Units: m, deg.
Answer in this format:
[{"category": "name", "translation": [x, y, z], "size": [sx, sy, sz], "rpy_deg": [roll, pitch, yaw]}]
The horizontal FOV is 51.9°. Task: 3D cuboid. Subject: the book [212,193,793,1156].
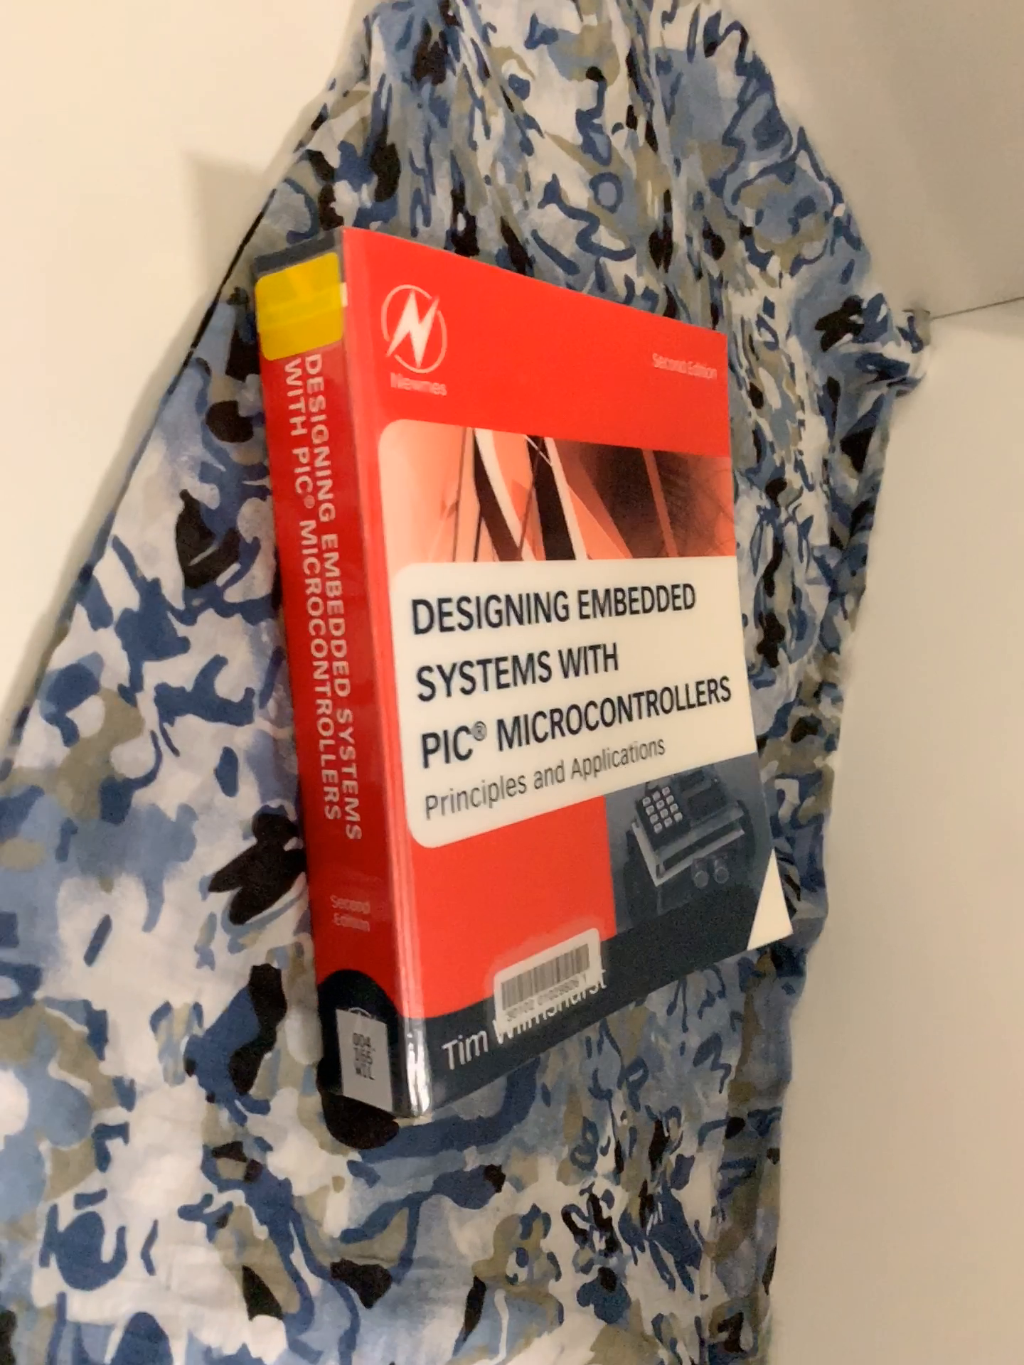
[{"category": "book", "translation": [0.017, -0.009, 0.353], "size": [0.211, 0.050, 0.237], "rpy_deg": [-9, 96, -49]}]
